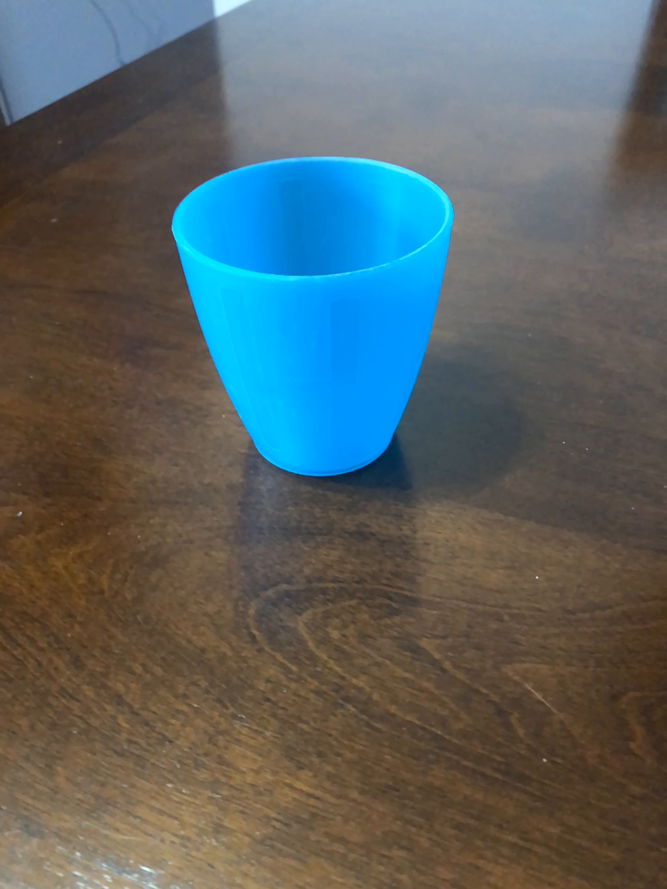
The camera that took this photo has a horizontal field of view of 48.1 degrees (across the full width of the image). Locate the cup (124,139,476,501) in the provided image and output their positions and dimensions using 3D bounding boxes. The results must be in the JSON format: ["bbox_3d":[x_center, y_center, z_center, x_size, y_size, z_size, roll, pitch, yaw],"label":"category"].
[{"bbox_3d":[-0.005,-0.037,0.222,0.080,0.080,0.070,1,42,3],"label":"cup"}]
